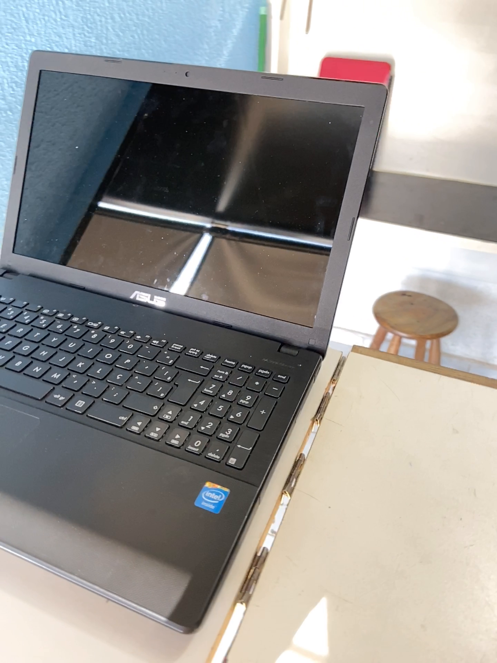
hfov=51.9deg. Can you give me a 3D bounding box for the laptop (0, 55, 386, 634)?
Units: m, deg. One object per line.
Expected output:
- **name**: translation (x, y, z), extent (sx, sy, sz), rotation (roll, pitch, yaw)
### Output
- **laptop**: translation (-0.129, -0.070, 0.397), extent (0.367, 0.201, 0.363), rotation (14, 37, 19)
